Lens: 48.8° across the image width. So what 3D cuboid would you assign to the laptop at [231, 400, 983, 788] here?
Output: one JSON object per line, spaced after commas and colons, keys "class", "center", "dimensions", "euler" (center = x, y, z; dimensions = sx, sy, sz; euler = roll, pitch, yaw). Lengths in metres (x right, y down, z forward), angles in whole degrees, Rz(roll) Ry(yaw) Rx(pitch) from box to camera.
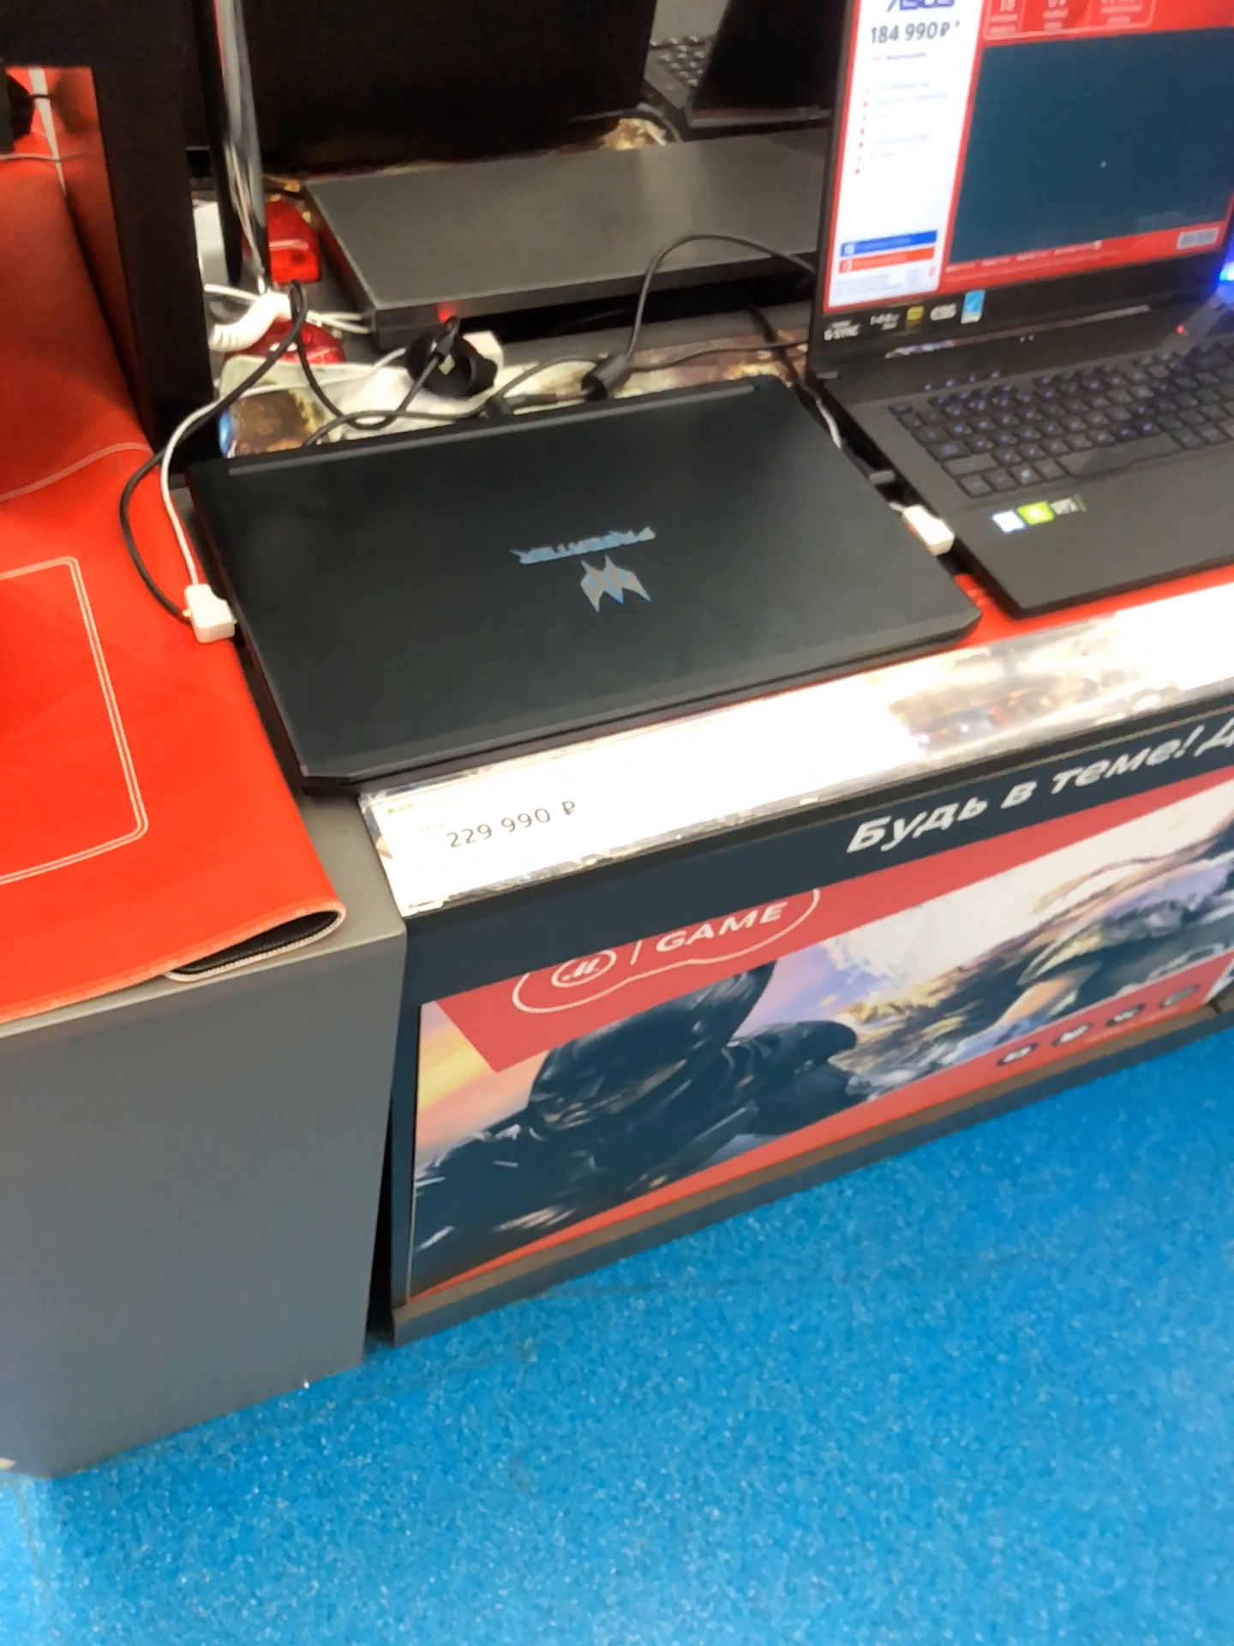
{"class": "laptop", "center": [-0.007, -0.142, 0.742], "dimensions": [0.354, 0.006, 0.222], "euler": [-15, 53, -19]}
